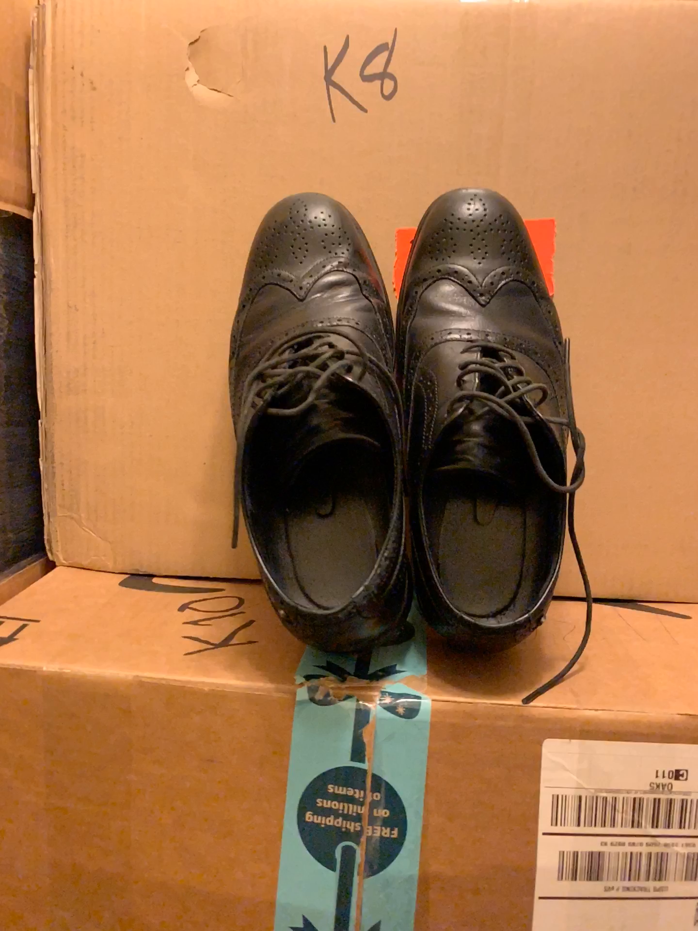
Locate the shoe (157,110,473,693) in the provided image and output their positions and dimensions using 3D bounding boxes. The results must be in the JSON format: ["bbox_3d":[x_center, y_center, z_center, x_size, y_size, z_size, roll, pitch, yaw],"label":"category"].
[{"bbox_3d":[-0.021,-0.034,0.406,0.120,0.281,0.100,-8,-7,-2],"label":"shoe"}]

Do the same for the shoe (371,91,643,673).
[{"bbox_3d":[0.081,-0.042,0.398,0.120,0.280,0.100,3,-6,1],"label":"shoe"}]
